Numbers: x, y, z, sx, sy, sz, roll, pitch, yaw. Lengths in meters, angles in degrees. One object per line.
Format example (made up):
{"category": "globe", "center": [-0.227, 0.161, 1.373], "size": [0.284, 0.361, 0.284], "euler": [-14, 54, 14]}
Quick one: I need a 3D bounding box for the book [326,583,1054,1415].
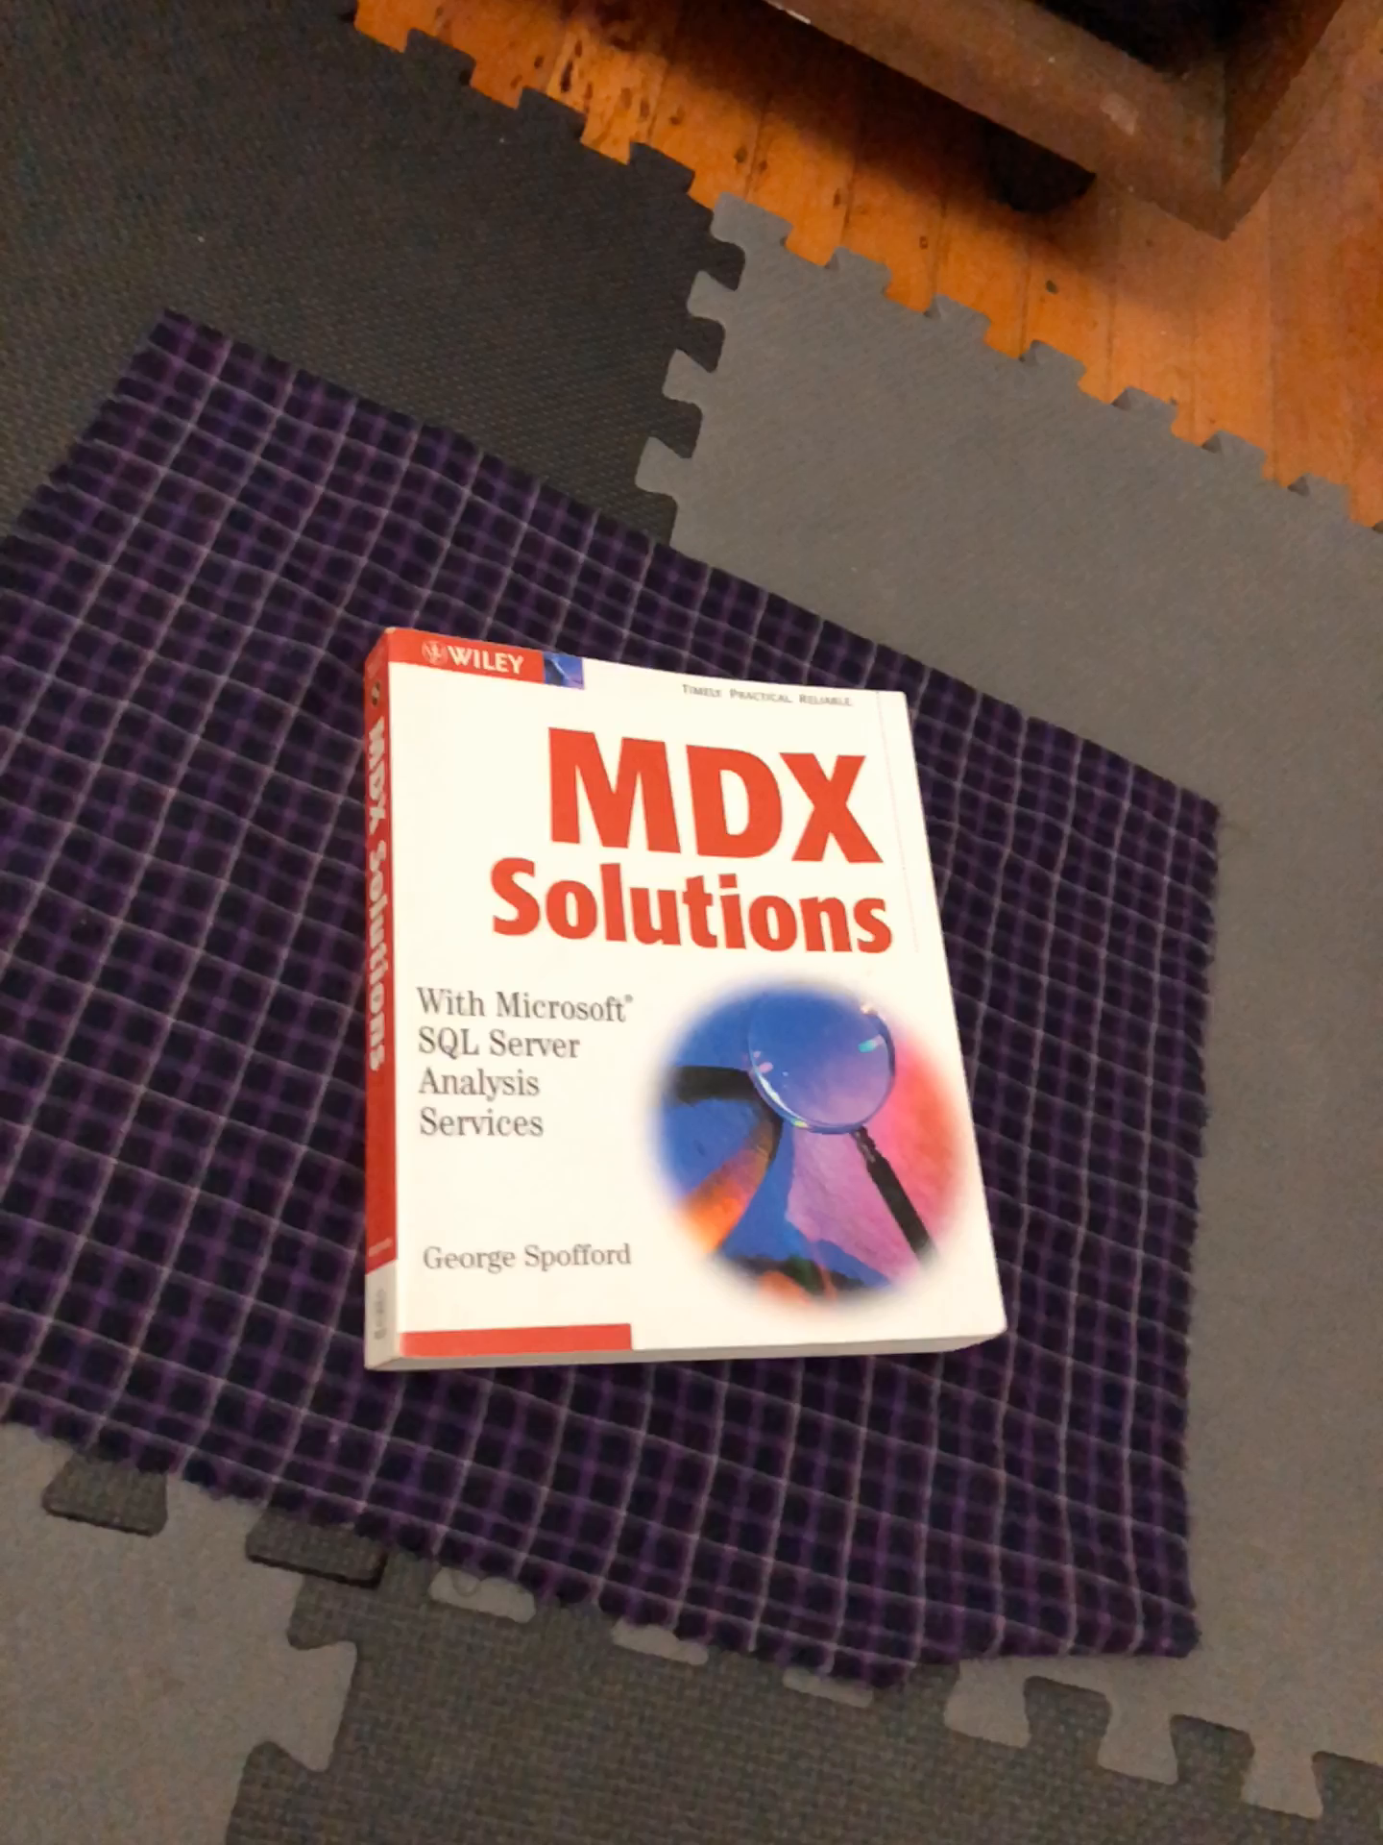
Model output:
{"category": "book", "center": [-0.008, 0.022, 0.517], "size": [0.220, 0.050, 0.261], "euler": [4, 64, -22]}
